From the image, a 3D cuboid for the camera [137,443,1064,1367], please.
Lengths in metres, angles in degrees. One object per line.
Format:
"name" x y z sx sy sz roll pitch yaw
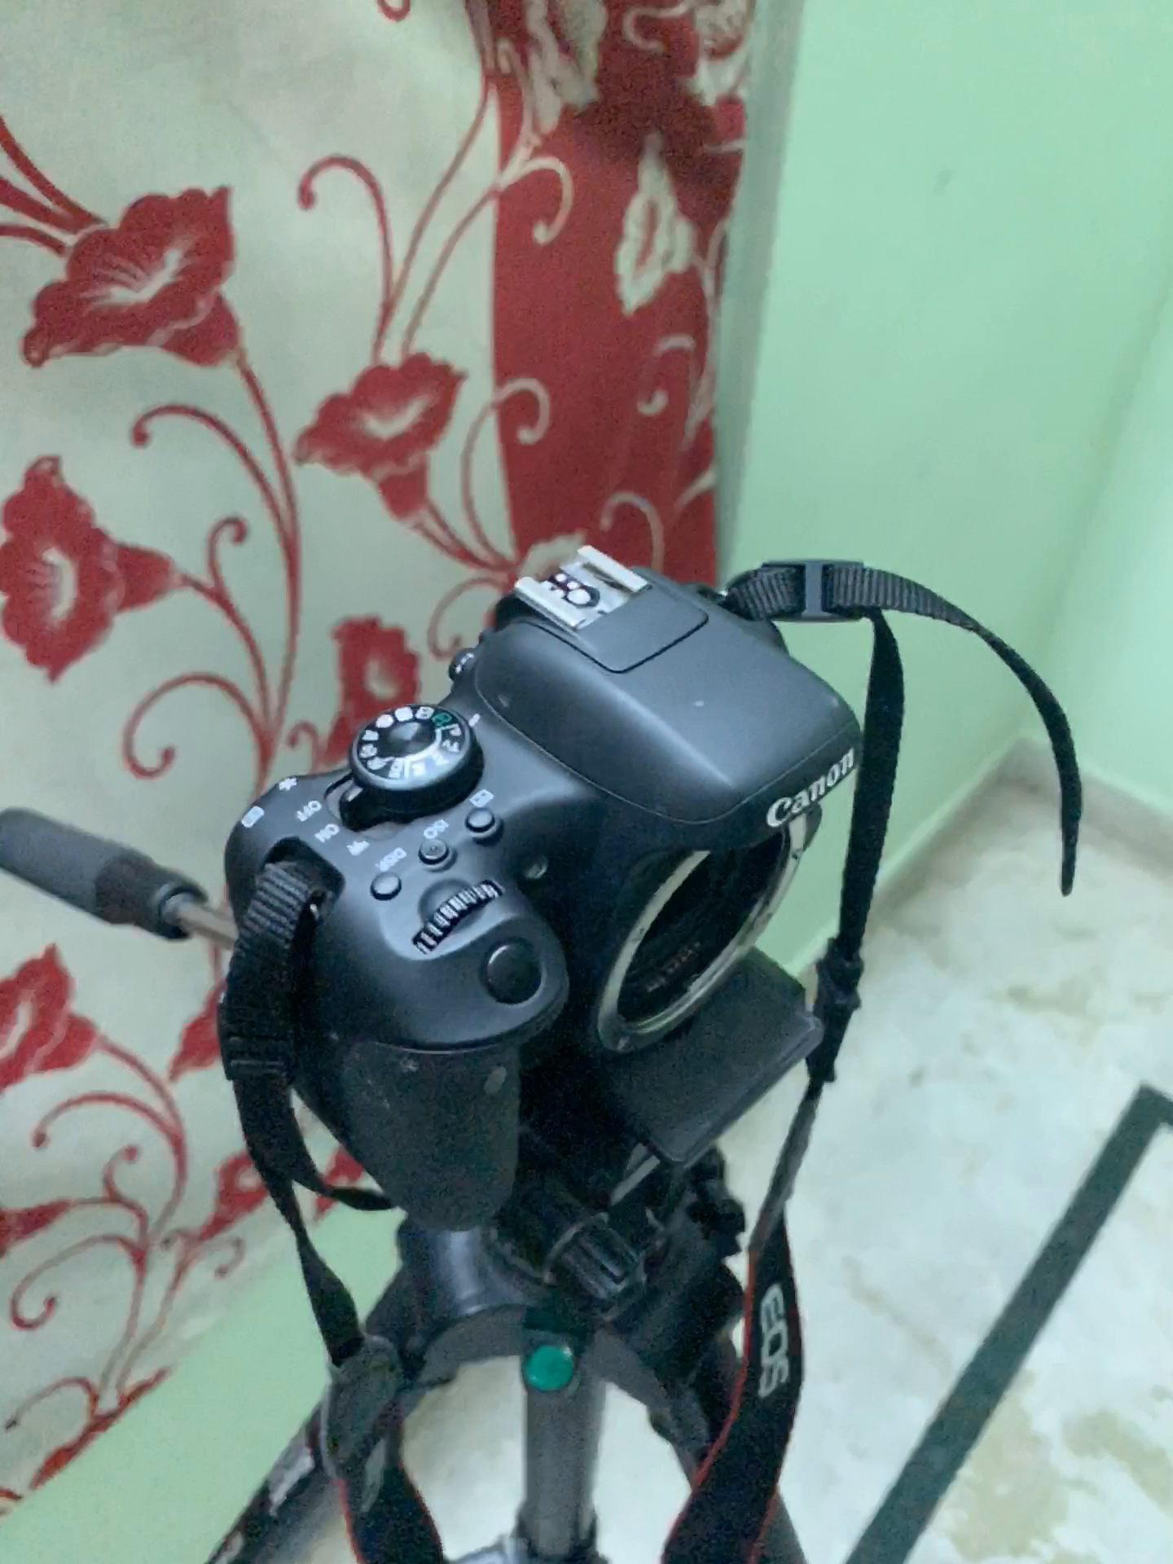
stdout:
"camera" 0.008 0.014 0.241 0.085 0.088 0.142 34 53 28
